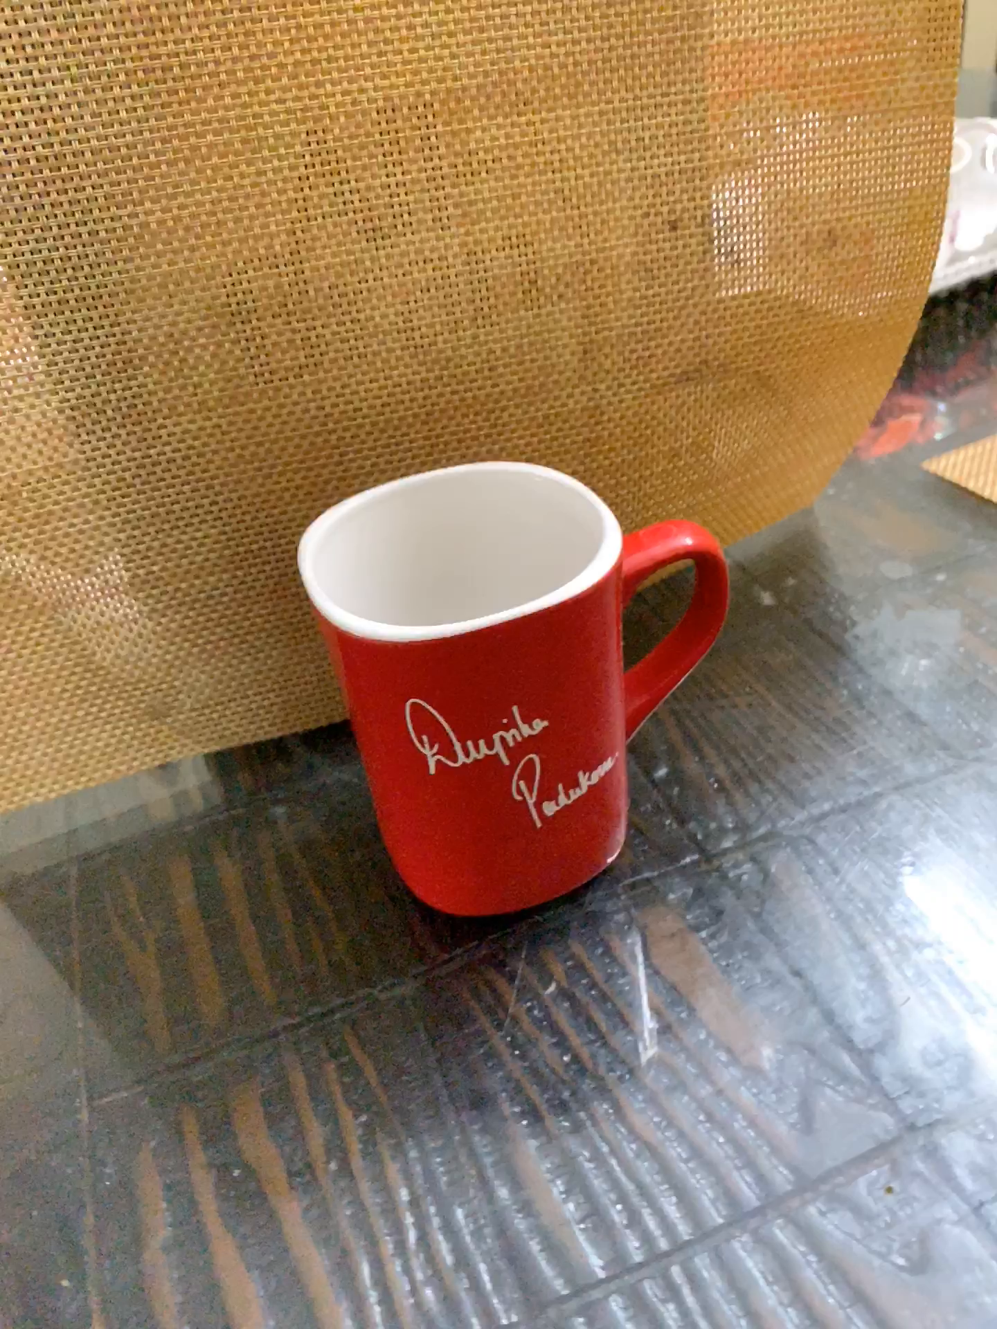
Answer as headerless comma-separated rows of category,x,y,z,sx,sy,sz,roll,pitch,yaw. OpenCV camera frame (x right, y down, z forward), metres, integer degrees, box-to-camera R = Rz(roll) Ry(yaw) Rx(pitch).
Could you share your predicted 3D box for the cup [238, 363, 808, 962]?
cup,0.007,-0.004,0.236,0.096,0.085,0.070,-21,38,-15
